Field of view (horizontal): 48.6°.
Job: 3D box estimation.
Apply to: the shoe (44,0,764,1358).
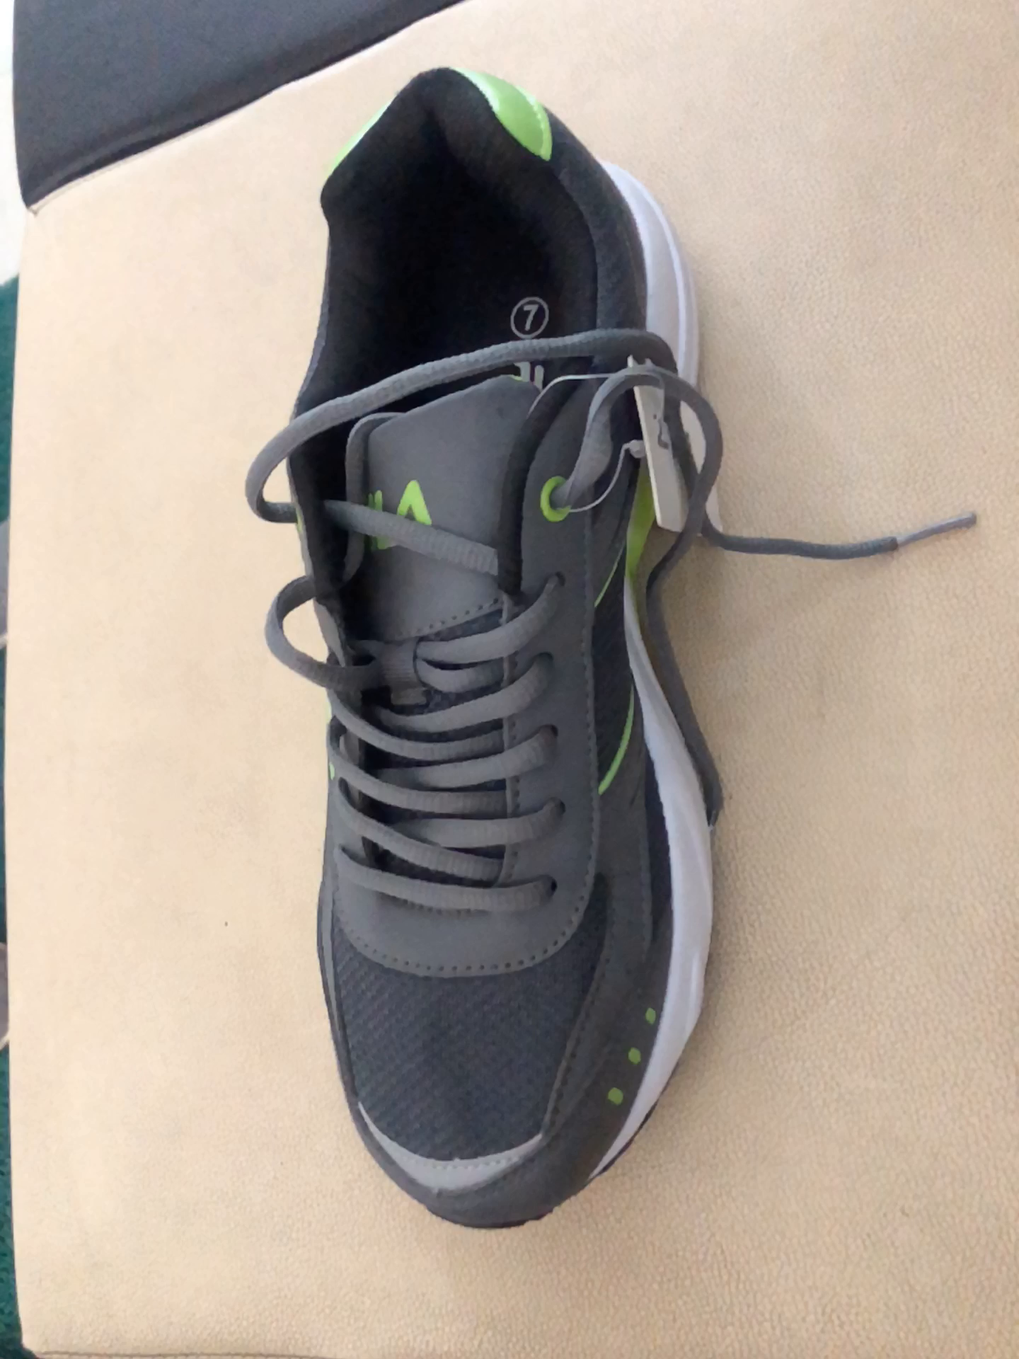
[{"bbox_3d":[-0.017,-0.021,0.293,0.130,0.100,0.320,-6,76,24],"label":"shoe"}]
